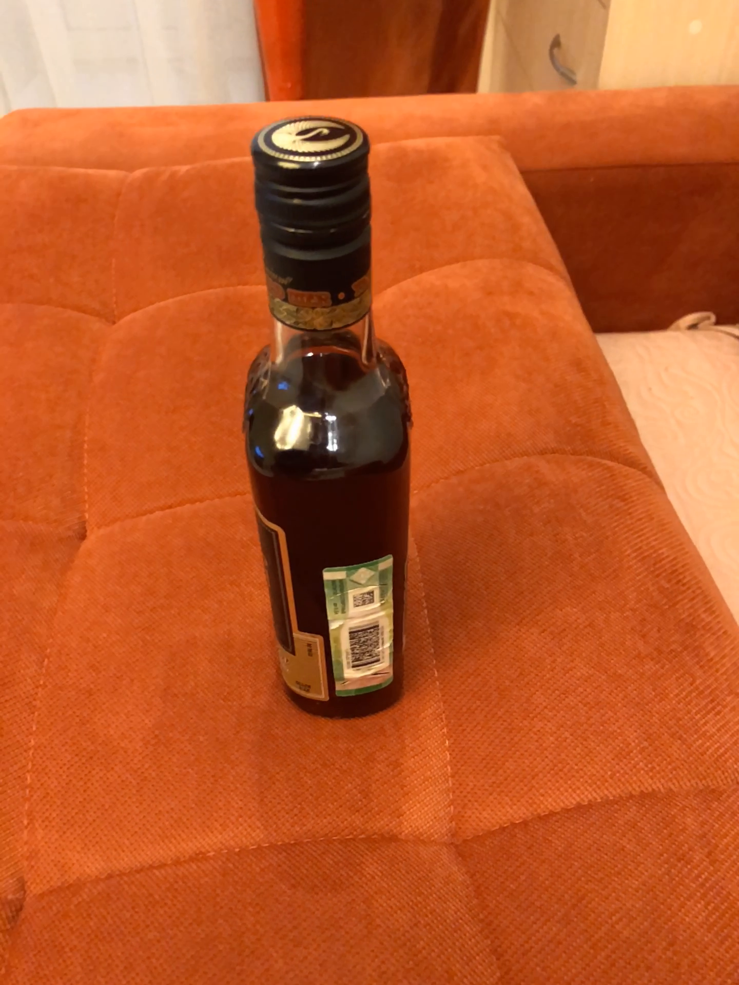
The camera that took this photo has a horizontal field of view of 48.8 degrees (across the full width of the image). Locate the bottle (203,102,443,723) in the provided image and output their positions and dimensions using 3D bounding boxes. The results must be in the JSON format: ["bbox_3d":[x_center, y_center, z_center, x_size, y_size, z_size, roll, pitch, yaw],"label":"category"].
[{"bbox_3d":[-0.011,-0.007,0.302,0.056,0.237,0.074,-2,47,-1],"label":"bottle"}]
